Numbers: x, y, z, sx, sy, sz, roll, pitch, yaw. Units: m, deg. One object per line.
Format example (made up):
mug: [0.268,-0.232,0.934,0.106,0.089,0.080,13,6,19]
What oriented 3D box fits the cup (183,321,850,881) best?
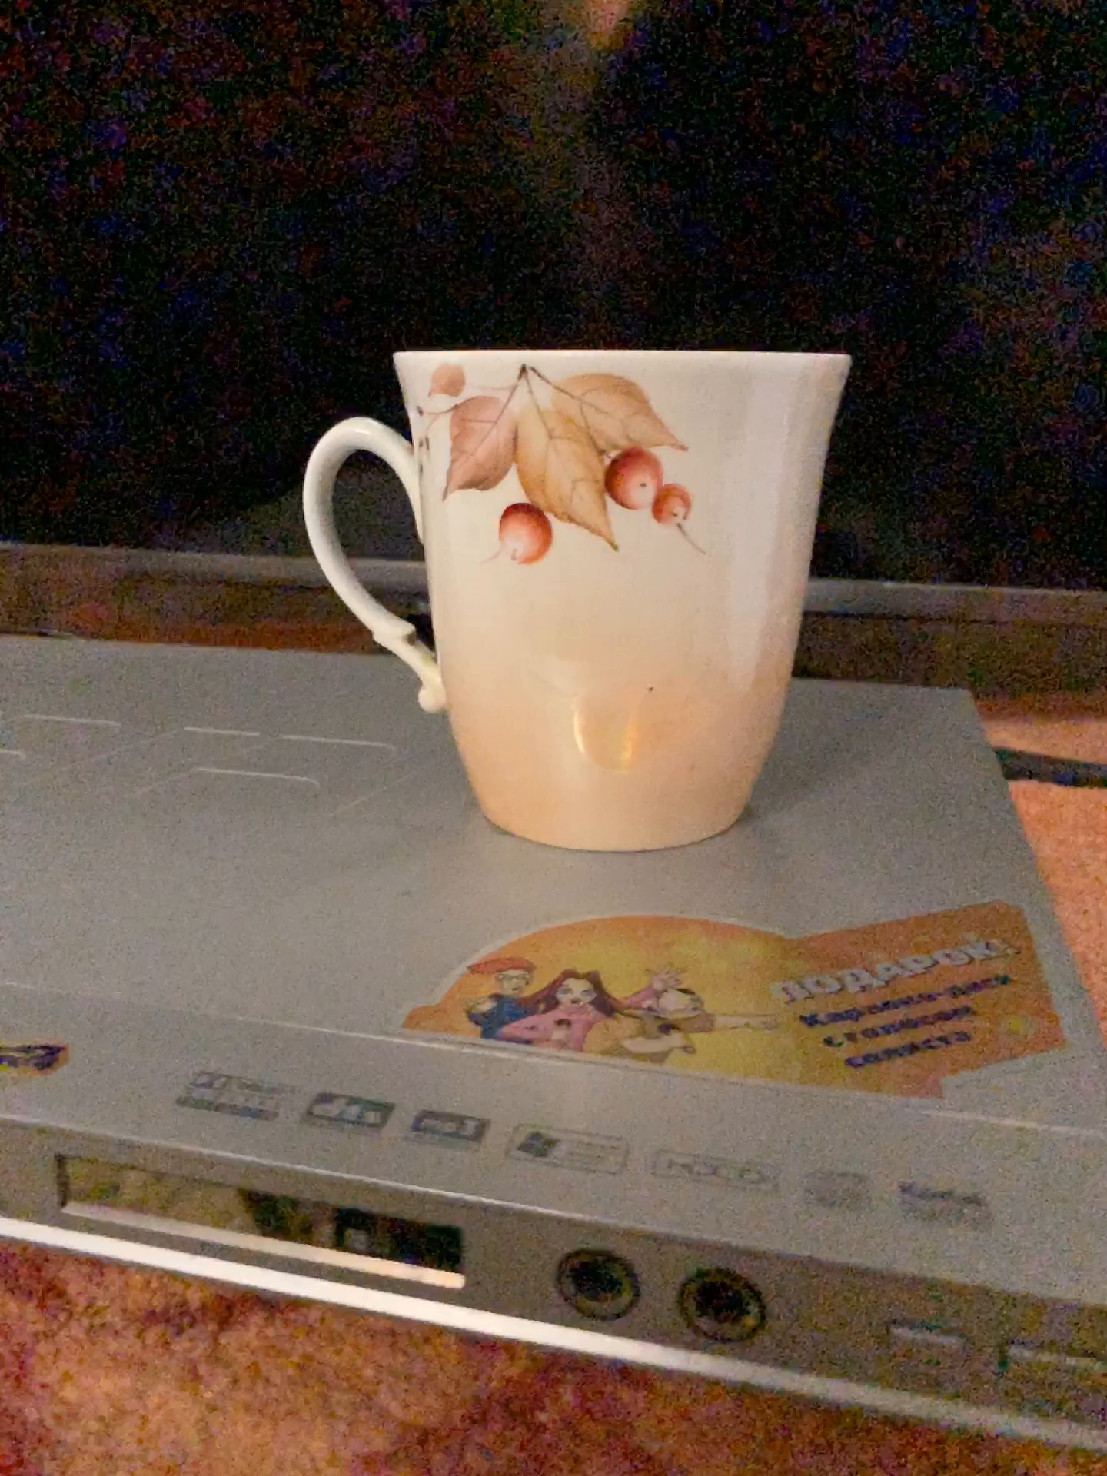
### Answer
cup: [0.000,-0.037,0.249,0.113,0.091,0.101,5,16,12]
